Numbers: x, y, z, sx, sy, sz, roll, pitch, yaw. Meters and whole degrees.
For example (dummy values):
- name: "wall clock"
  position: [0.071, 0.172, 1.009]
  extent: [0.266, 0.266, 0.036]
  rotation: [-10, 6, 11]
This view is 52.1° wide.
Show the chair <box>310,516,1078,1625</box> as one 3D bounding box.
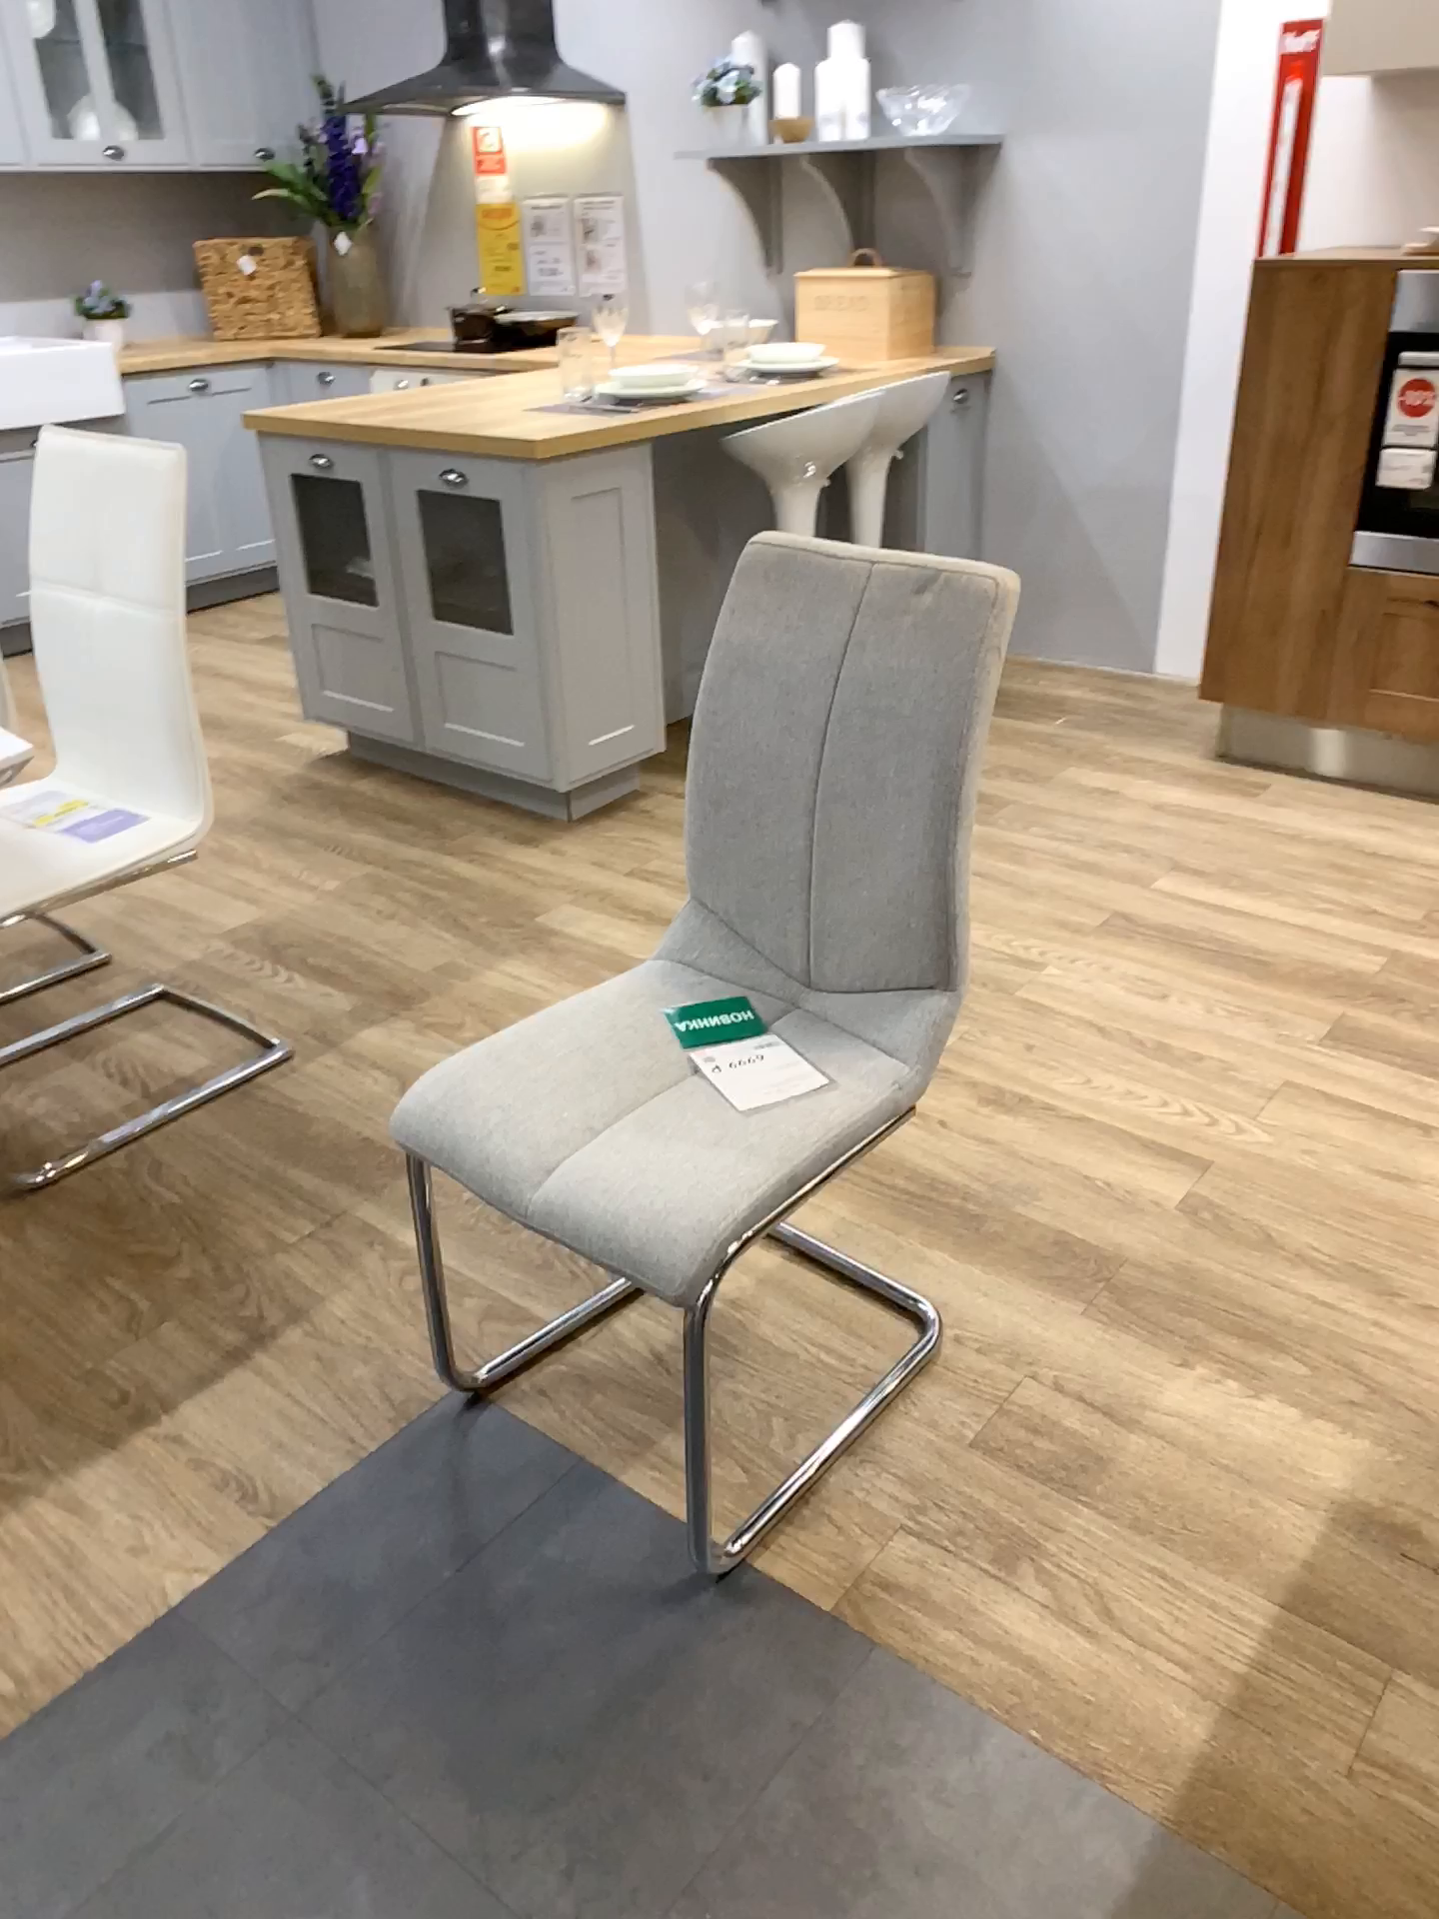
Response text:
- name: "chair"
  position: [-0.001, 0.080, 1.647]
  extent: [0.491, 0.985, 0.572]
  rotation: [20, 34, 37]
